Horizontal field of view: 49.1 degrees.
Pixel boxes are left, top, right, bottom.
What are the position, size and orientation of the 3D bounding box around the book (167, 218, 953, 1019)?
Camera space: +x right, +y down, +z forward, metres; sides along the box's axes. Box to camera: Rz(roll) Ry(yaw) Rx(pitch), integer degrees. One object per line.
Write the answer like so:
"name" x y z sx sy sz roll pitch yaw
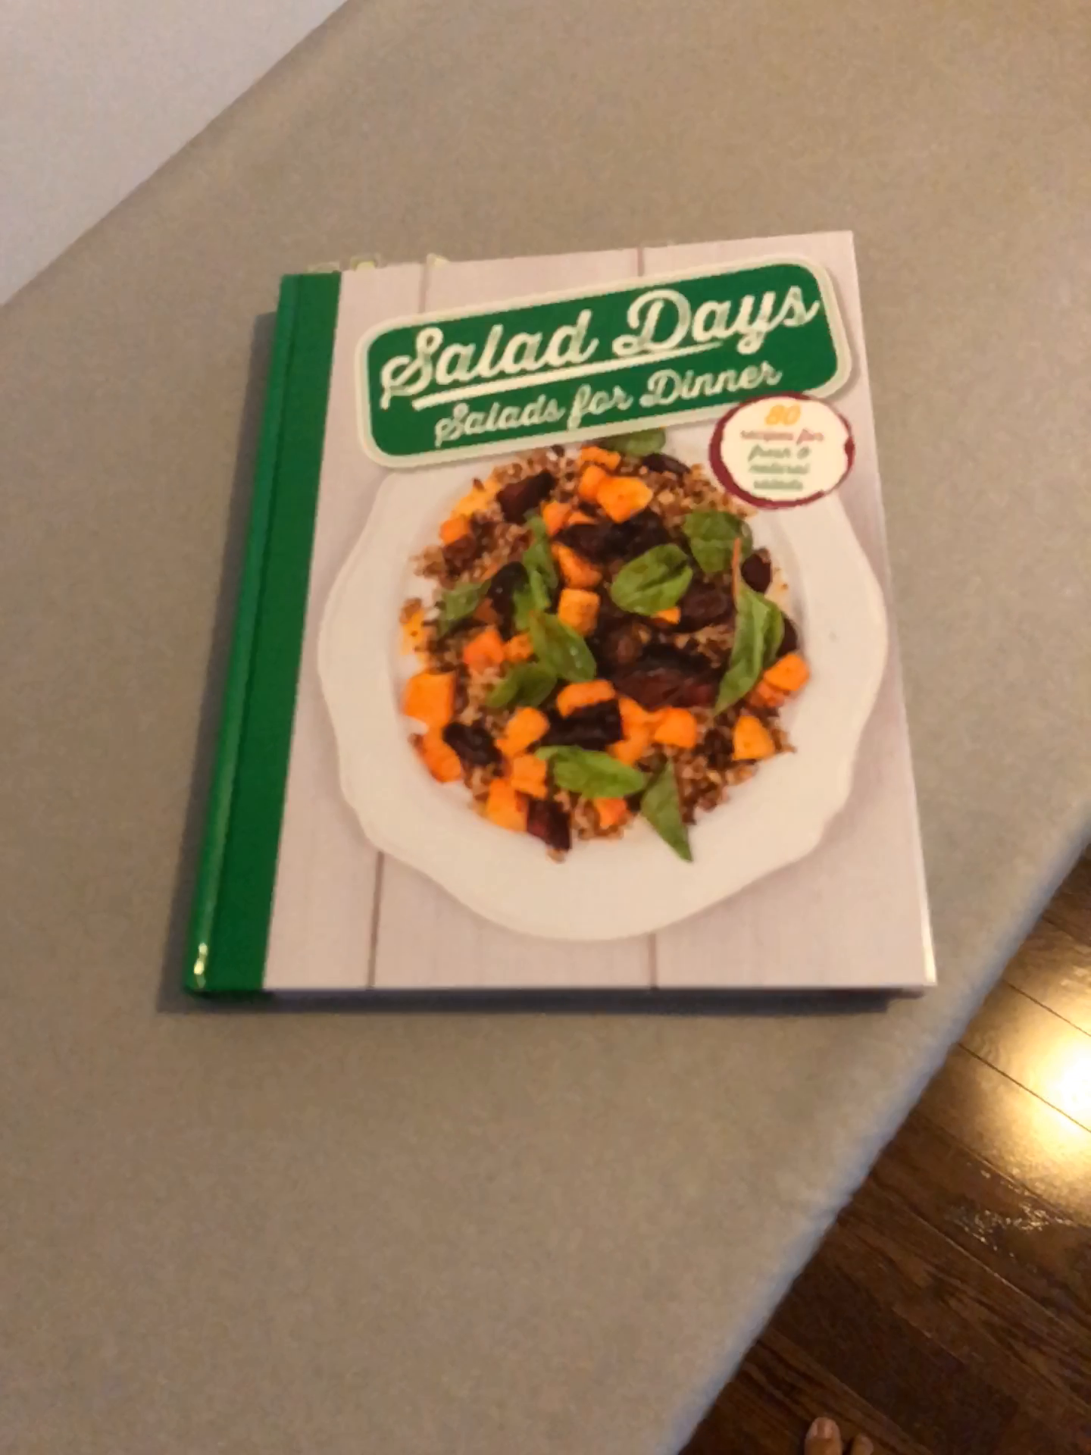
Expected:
"book" 0.004 -0.047 0.387 0.213 0.020 0.275 -2 66 6
